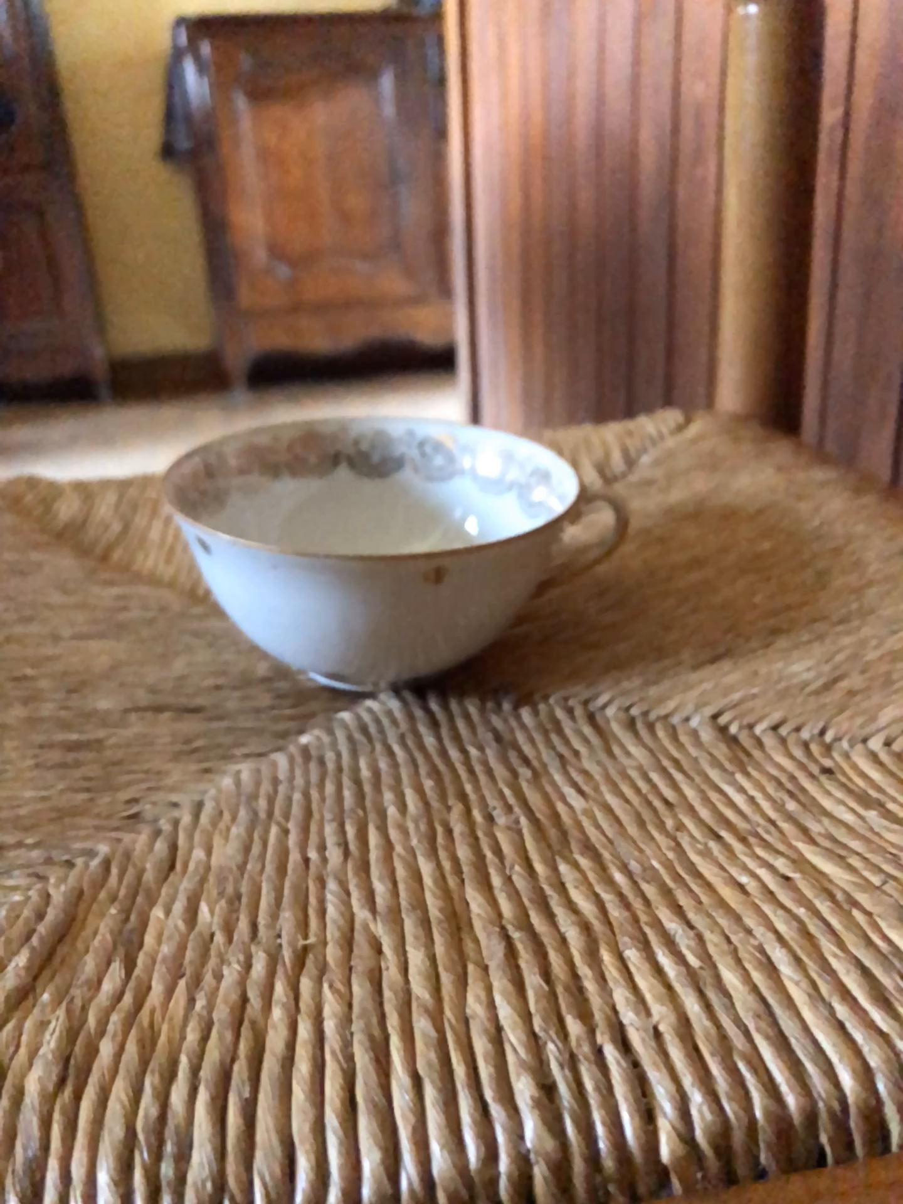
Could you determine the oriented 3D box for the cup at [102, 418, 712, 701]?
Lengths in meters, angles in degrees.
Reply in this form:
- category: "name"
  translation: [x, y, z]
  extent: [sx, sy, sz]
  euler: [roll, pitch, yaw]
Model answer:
- category: "cup"
  translation: [-0.016, -0.020, 0.300]
  extent: [0.140, 0.040, 0.131]
  euler: [2, 21, -1]
